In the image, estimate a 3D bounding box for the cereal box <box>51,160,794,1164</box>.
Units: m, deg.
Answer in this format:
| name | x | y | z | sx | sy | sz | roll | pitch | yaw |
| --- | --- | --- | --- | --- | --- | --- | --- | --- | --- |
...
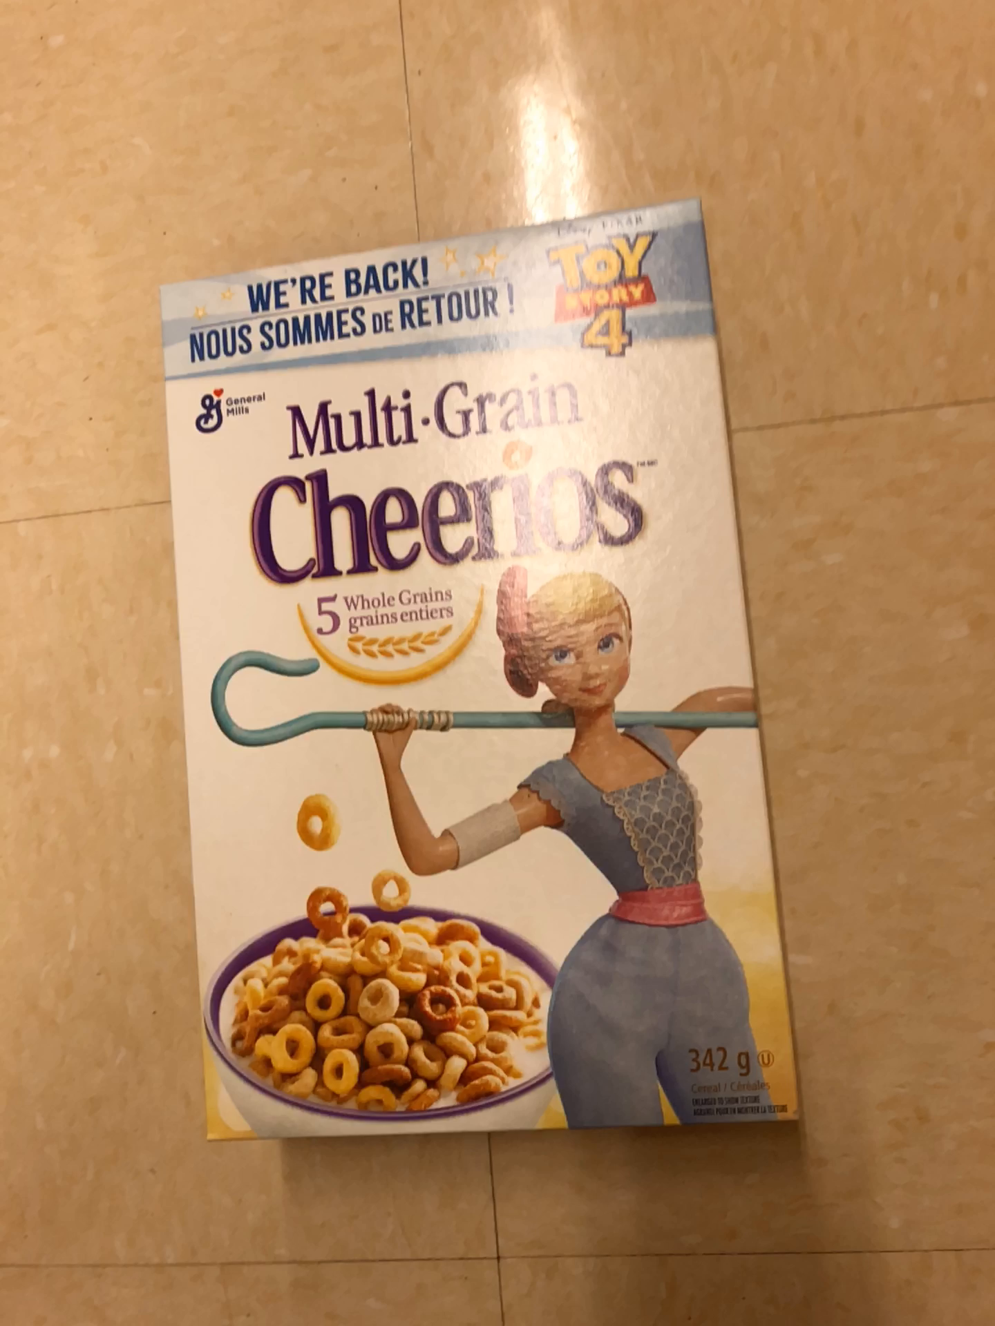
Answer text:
| name | x | y | z | sx | sy | sz | roll | pitch | yaw |
| --- | --- | --- | --- | --- | --- | --- | --- | --- | --- |
| cereal box | -0.028 | 0.004 | 0.373 | 0.210 | 0.070 | 0.290 | -6 | 85 | 9 |
